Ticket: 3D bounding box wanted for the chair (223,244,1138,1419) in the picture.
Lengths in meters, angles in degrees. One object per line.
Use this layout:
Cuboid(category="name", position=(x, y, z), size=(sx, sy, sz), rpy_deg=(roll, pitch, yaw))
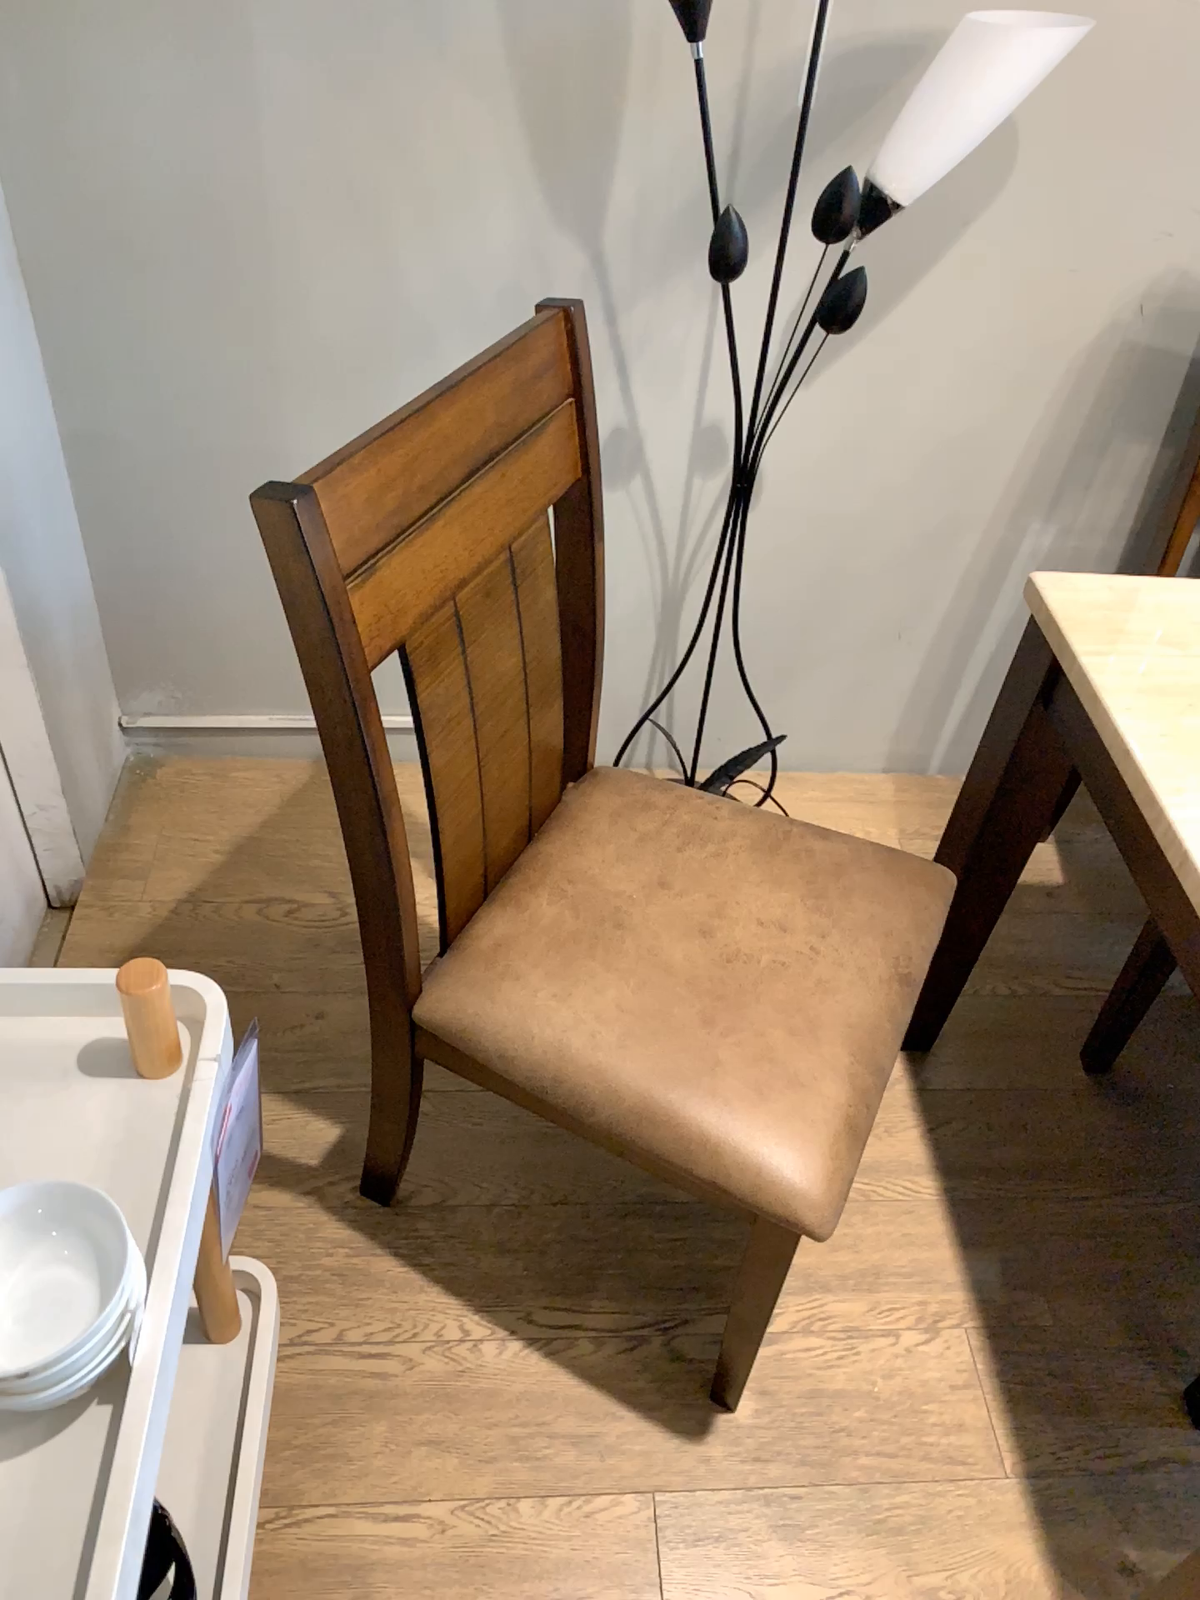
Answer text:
Cuboid(category="chair", position=(0.058, 0.076, 1.261), size=(0.550, 0.996, 0.512), rpy_deg=(20, 44, 14))
